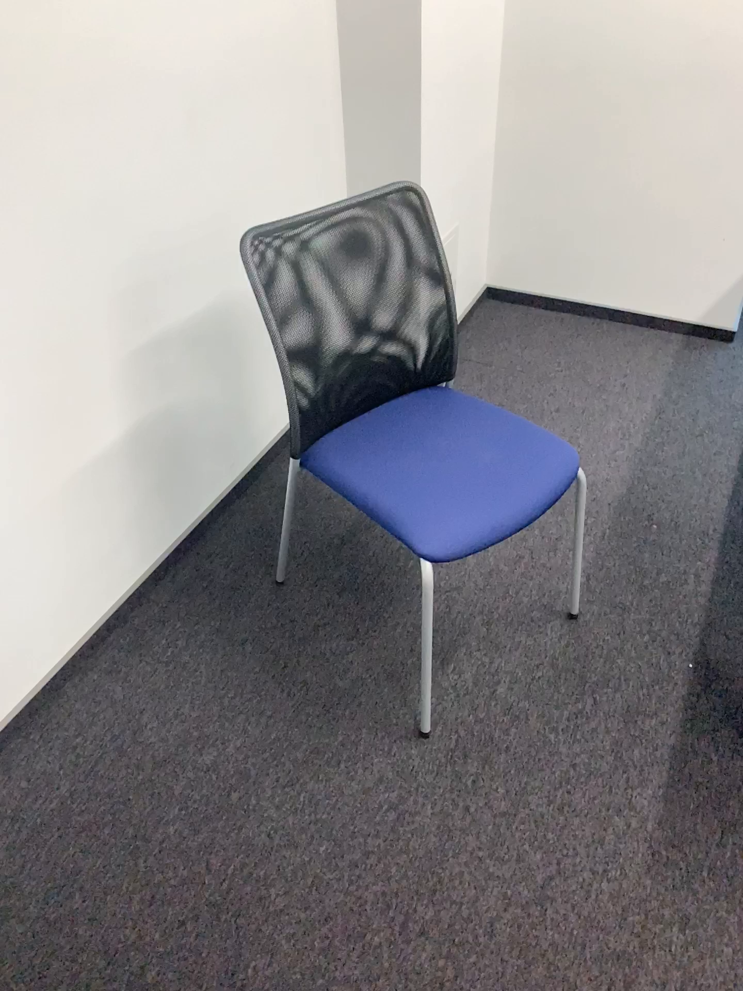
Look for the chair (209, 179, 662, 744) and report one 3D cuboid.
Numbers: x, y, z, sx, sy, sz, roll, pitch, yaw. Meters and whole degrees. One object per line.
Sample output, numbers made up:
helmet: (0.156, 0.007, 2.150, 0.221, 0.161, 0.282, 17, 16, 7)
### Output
chair: (0.103, -0.074, 1.555, 0.491, 0.865, 0.592, -29, 47, -27)
